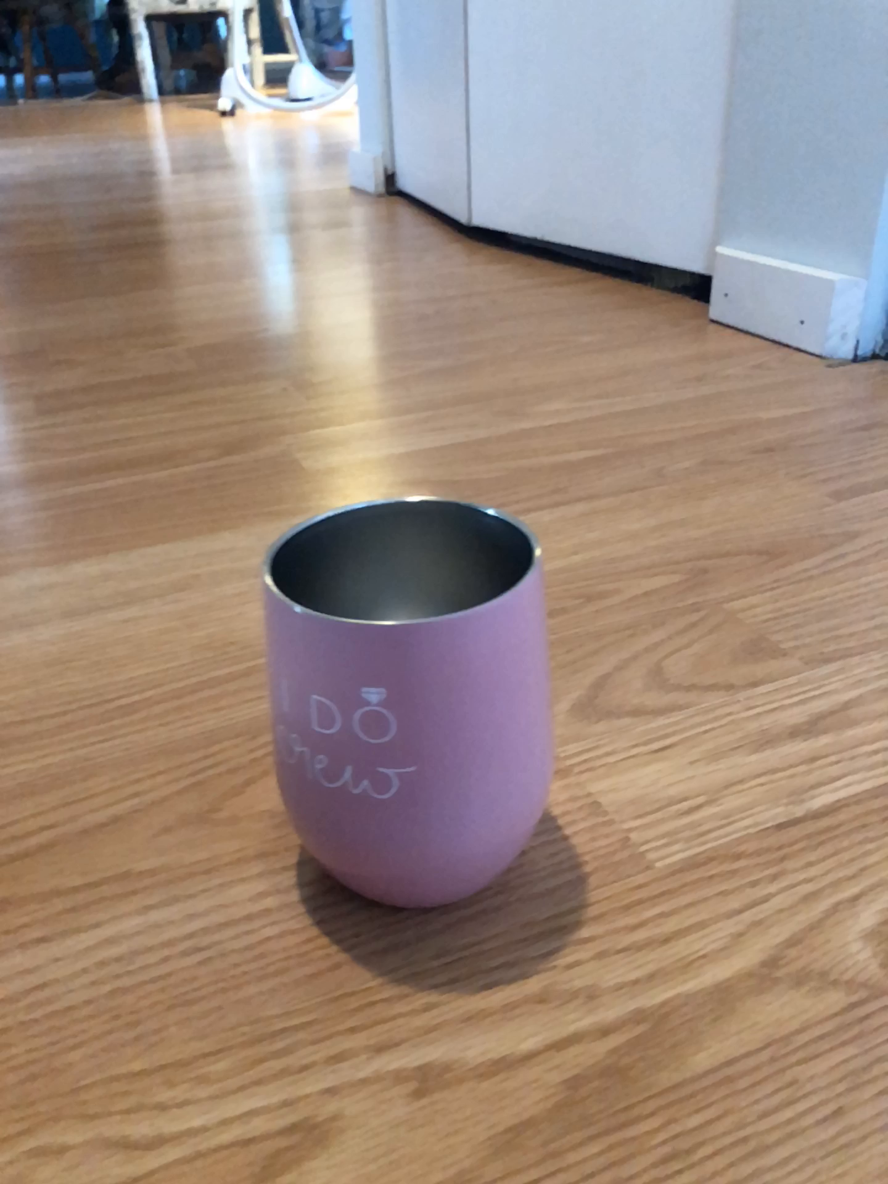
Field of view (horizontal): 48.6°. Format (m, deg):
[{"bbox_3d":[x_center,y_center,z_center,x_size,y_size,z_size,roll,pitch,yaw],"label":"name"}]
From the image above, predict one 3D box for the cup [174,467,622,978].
[{"bbox_3d":[-0.009,0.032,0.300,0.090,0.100,0.090,-2,29,1],"label":"cup"}]
